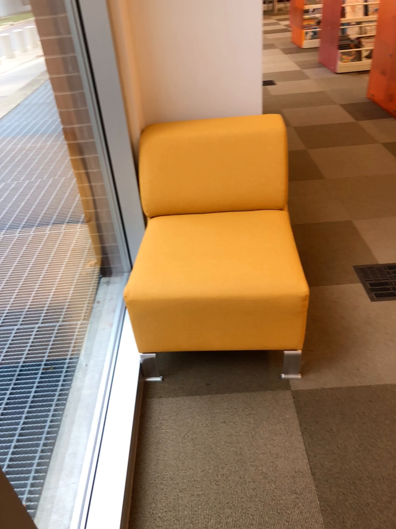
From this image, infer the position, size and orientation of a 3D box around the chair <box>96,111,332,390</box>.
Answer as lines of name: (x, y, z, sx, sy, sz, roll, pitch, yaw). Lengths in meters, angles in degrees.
chair: (0.084, -0.110, 1.839, 0.672, 0.751, 0.949, -3, 34, 4)
